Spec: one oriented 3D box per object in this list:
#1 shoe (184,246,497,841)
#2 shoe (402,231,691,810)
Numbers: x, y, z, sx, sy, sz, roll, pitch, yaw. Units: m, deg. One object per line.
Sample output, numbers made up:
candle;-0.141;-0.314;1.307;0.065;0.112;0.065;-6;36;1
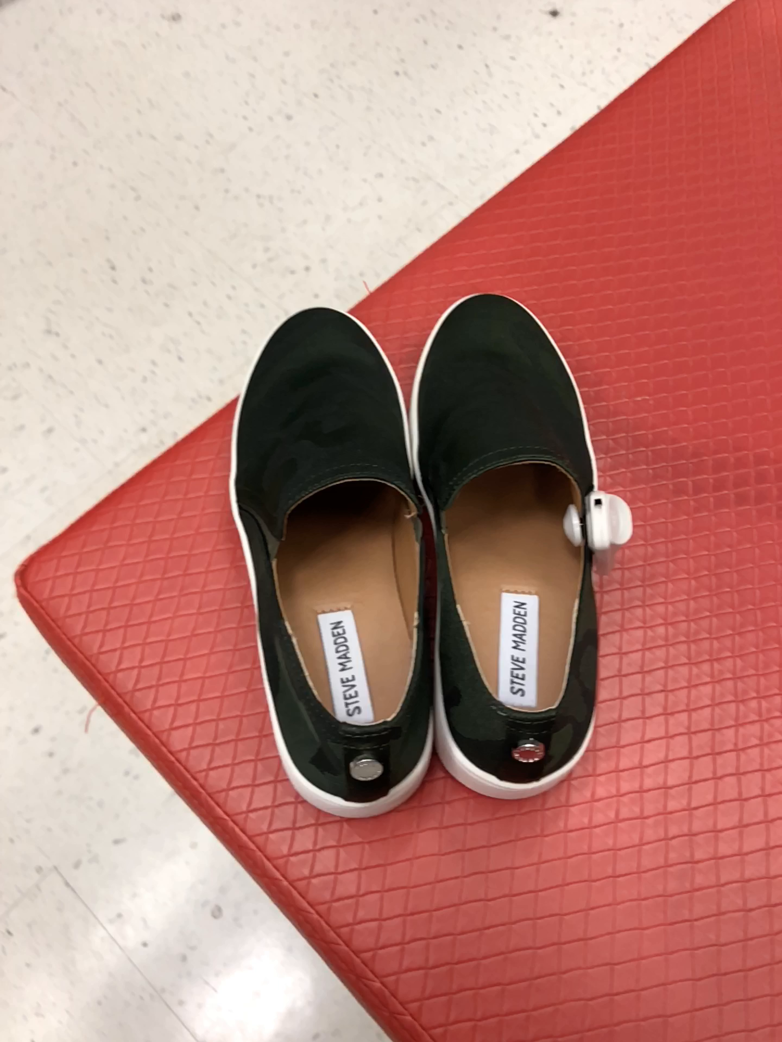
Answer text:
shoe;-0.030;0.004;0.393;0.091;0.090;0.244;-9;63;-5
shoe;0.055;-0.006;0.398;0.088;0.090;0.250;-2;63;-1
